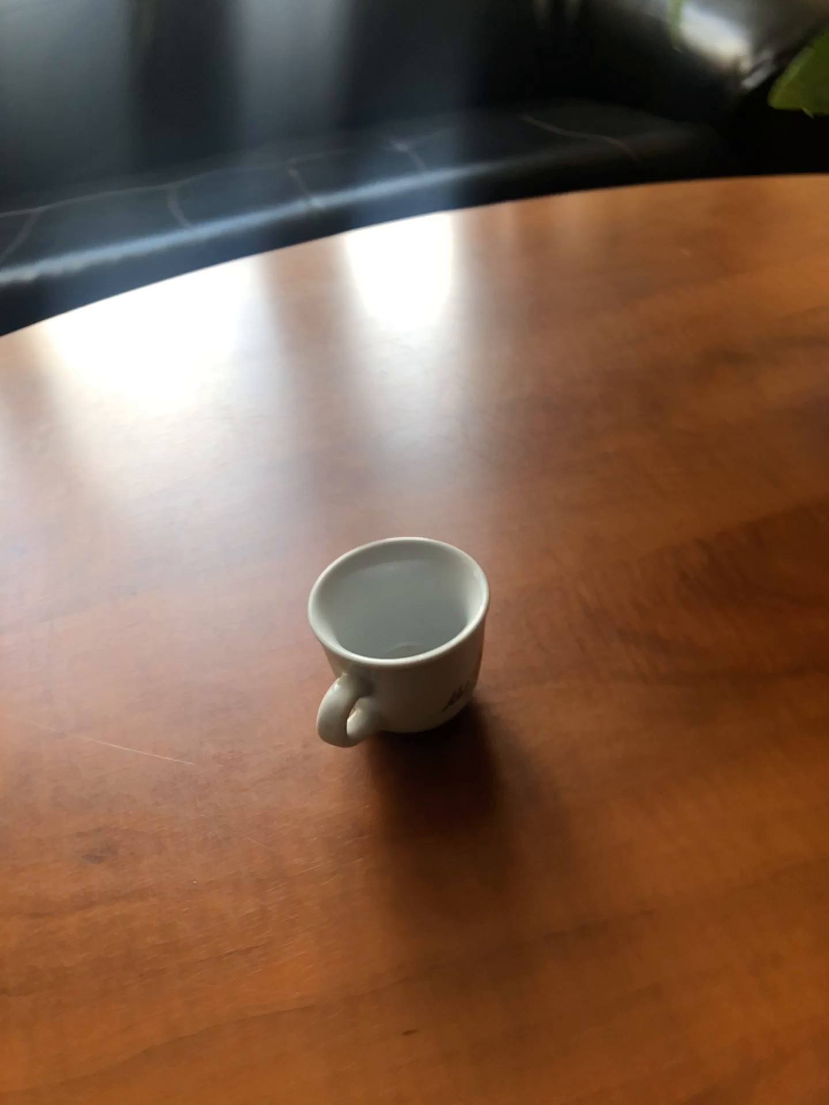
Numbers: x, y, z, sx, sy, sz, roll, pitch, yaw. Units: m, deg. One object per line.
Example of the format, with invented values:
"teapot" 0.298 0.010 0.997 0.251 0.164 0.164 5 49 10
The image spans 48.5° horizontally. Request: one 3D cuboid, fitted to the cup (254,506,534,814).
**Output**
"cup" -0.002 0.034 0.321 0.065 0.050 0.083 11 43 21
